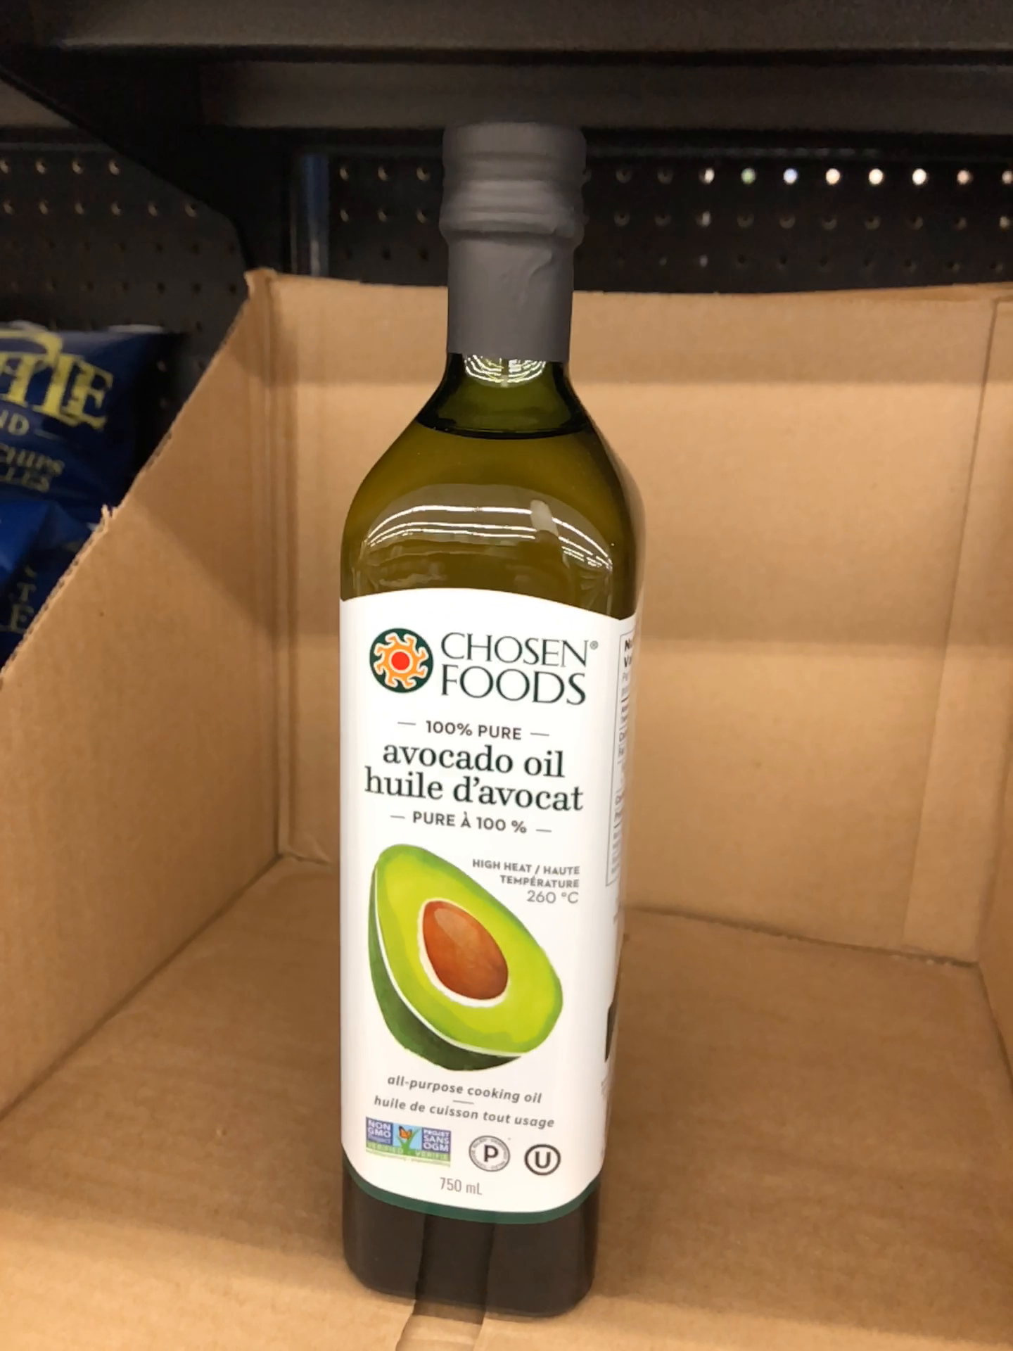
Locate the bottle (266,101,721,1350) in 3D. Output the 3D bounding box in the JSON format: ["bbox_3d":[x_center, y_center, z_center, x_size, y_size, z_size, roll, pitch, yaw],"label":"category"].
[{"bbox_3d":[-0.001,0.024,0.300,0.090,0.308,0.070,4,18,9],"label":"bottle"}]
